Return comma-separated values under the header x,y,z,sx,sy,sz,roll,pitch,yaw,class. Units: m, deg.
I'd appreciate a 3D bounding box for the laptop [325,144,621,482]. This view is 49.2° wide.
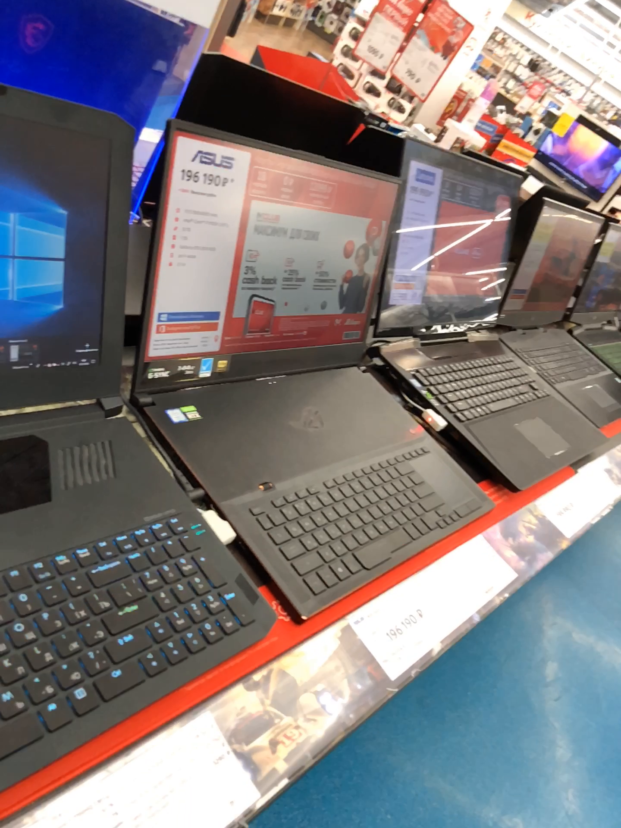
x,y,z,sx,sy,sz,roll,pitch,yaw,class
0.332,-0.168,1.073,0.376,0.248,0.412,-12,54,-49,laptop

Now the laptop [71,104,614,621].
x,y,z,sx,sy,sz,roll,pitch,yaw,class
0.046,-0.074,0.726,0.377,0.240,0.392,47,32,21,laptop
